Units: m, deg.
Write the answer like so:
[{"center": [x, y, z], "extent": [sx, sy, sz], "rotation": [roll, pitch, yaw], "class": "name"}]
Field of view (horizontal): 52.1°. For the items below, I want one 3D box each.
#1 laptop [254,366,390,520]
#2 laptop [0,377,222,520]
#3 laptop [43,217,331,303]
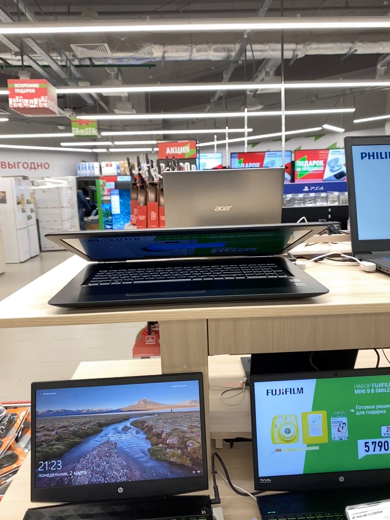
[{"center": [0.304, 0.368, 0.696], "extent": [0.353, 0.226, 0.299], "rotation": [-2, 9, -2], "class": "laptop"}, {"center": [-0.149, 0.382, 0.693], "extent": [0.343, 0.220, 0.315], "rotation": [-1, 8, -4], "class": "laptop"}, {"center": [-0.014, -0.014, 0.697], "extent": [0.404, 0.084, 0.271], "rotation": [-2, 11, -2], "class": "laptop"}]
